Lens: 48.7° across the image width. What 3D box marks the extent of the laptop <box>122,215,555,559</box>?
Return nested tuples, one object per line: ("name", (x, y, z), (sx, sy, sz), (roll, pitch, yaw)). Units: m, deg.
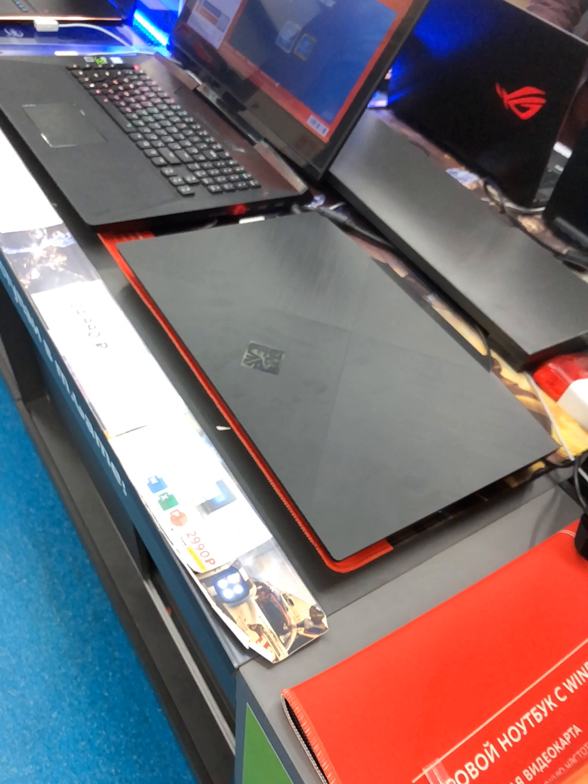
("laptop", (0.032, -0.050, 0.639), (0.261, 0.002, 0.399), (-17, 54, -31))
